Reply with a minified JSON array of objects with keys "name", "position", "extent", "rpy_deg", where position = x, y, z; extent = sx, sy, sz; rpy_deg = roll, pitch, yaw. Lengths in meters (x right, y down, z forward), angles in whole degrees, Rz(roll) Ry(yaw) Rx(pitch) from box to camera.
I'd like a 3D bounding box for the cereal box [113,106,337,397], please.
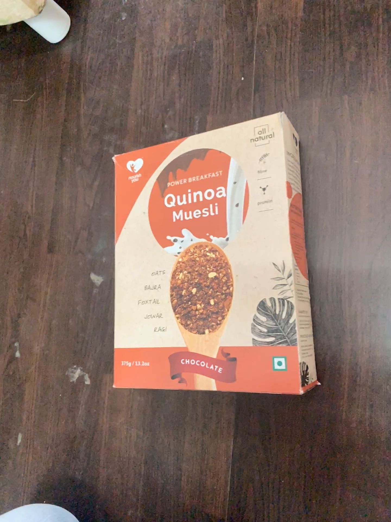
[{"name":"cereal box","position":[0.022,0.000,0.353],"extent":[0.171,0.070,0.210],"rpy_deg":[-6,77,26]}]
